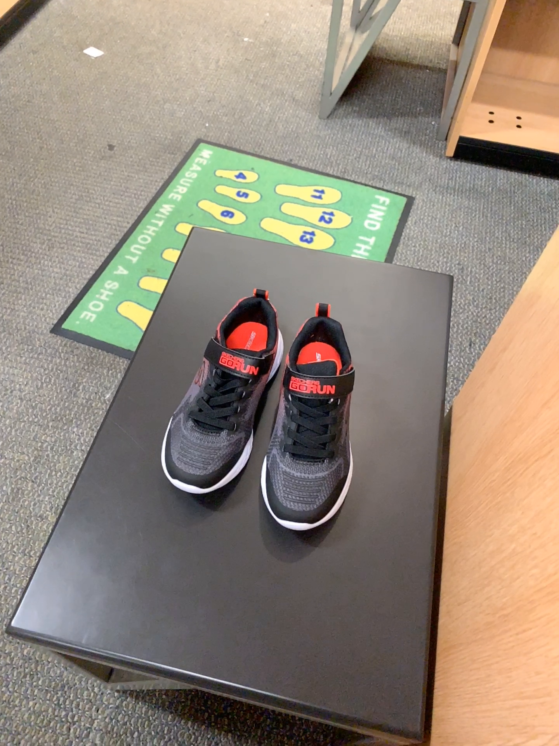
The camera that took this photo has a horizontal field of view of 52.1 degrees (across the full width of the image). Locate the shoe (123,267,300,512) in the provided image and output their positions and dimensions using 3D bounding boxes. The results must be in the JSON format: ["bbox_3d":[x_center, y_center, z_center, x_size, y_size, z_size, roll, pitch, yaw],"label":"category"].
[{"bbox_3d":[-0.061,0.009,0.611,0.098,0.080,0.241,16,56,7],"label":"shoe"}]

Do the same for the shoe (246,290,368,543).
[{"bbox_3d":[0.032,0.037,0.587,0.090,0.080,0.241,9,56,2],"label":"shoe"}]
